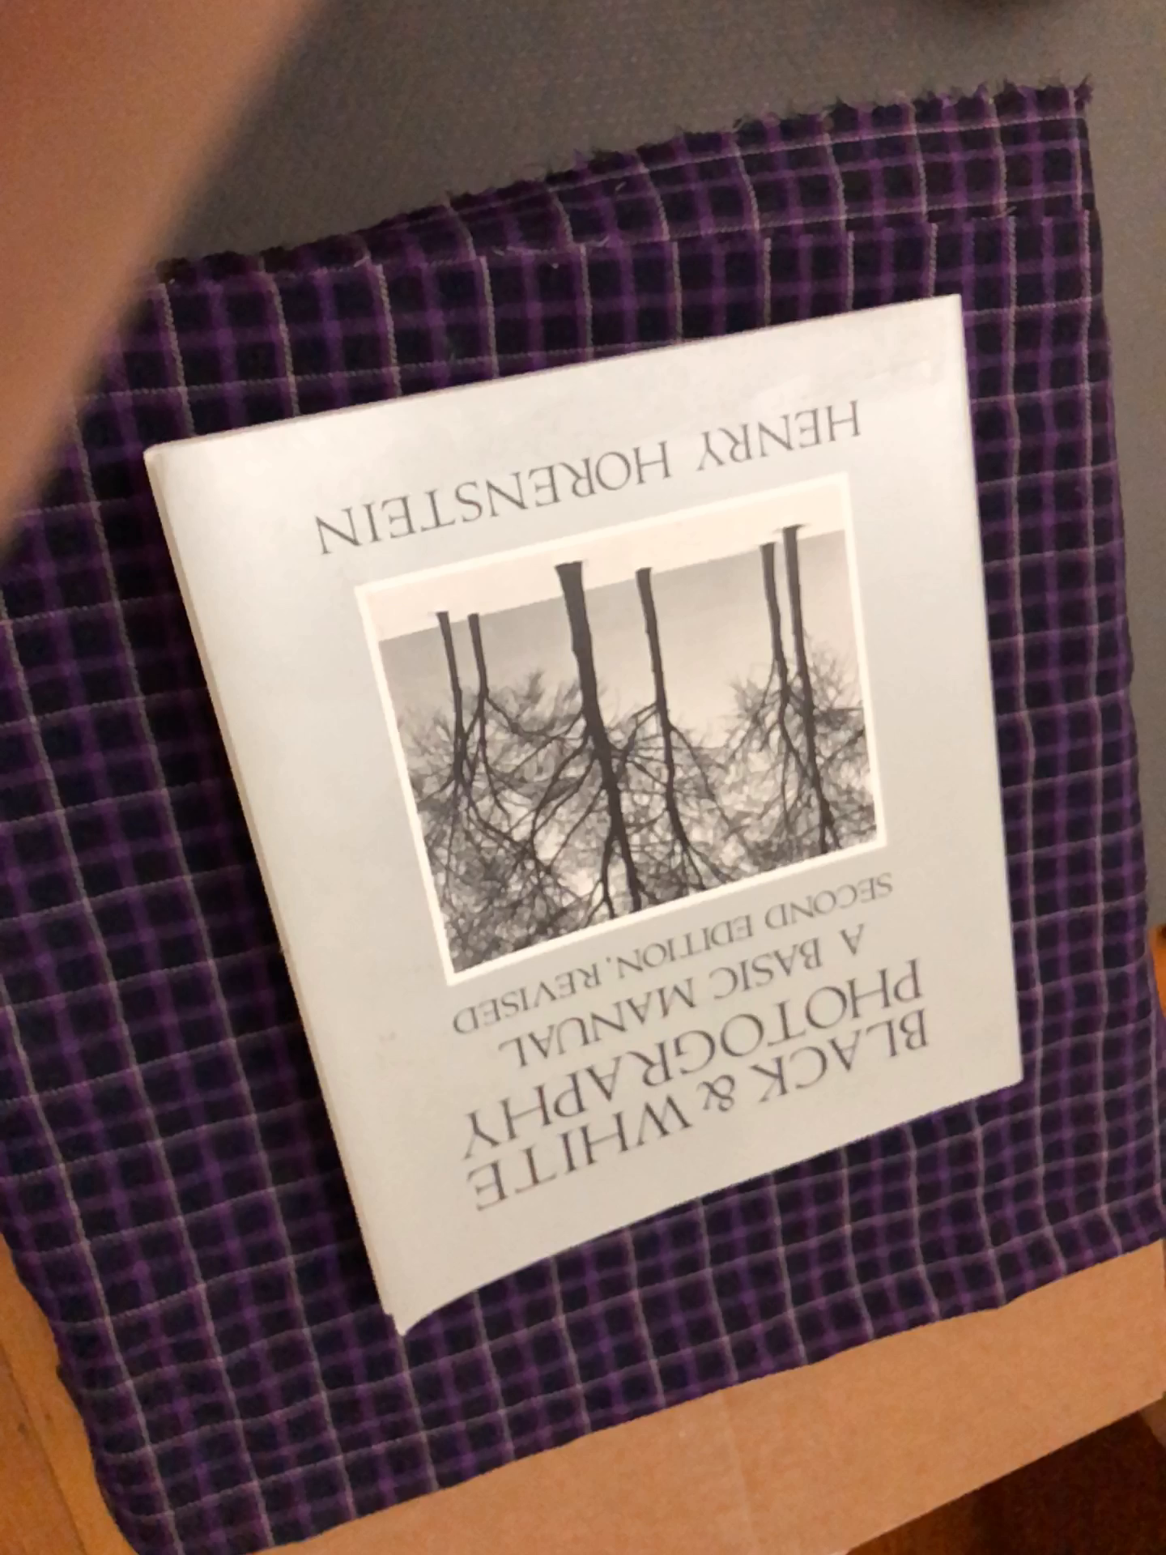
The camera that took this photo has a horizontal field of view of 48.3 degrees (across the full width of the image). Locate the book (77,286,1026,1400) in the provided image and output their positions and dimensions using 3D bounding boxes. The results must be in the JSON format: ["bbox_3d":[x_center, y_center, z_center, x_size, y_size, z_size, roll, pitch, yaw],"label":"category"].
[{"bbox_3d":[0.011,0.019,0.348,0.210,0.030,0.250,-16,109,-14],"label":"book"}]
